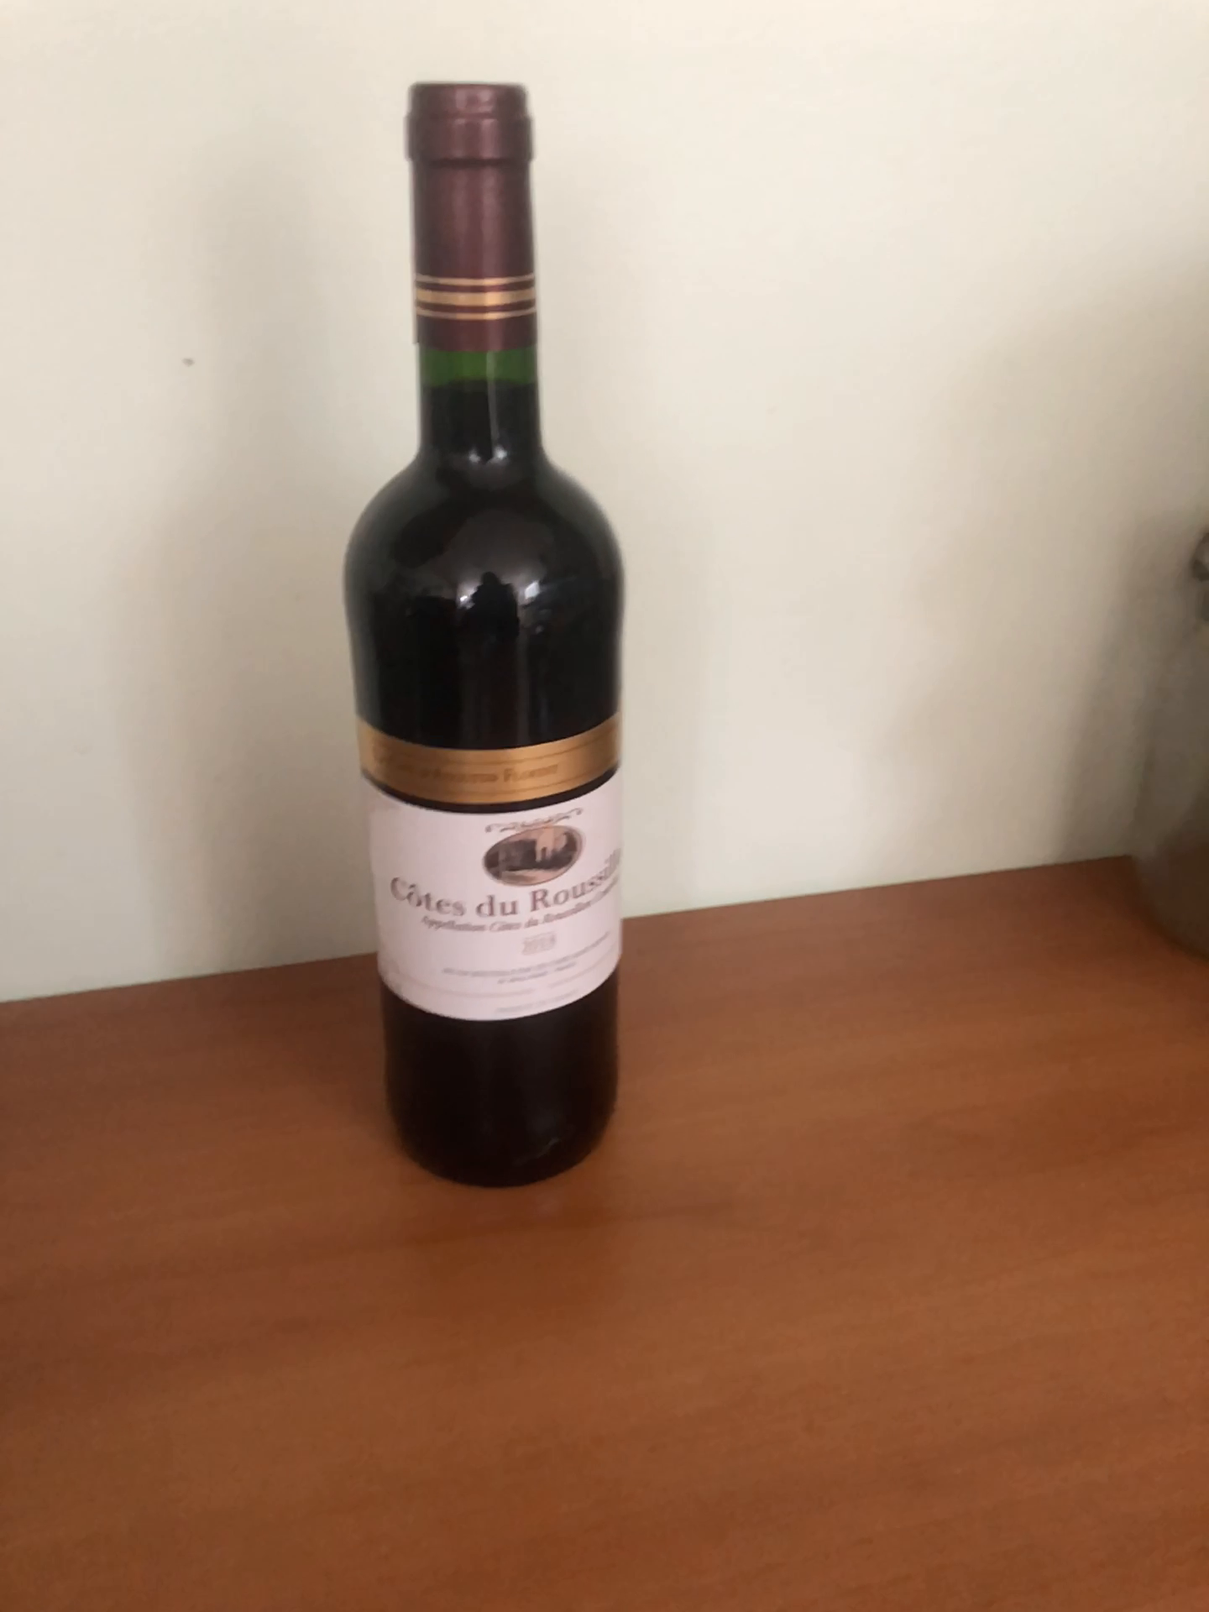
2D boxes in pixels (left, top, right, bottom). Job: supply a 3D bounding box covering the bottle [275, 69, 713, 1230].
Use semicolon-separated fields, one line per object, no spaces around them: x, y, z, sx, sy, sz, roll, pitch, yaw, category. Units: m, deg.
-0.030;-0.030;0.354;0.080;0.288;0.080;1;28;0;bottle
